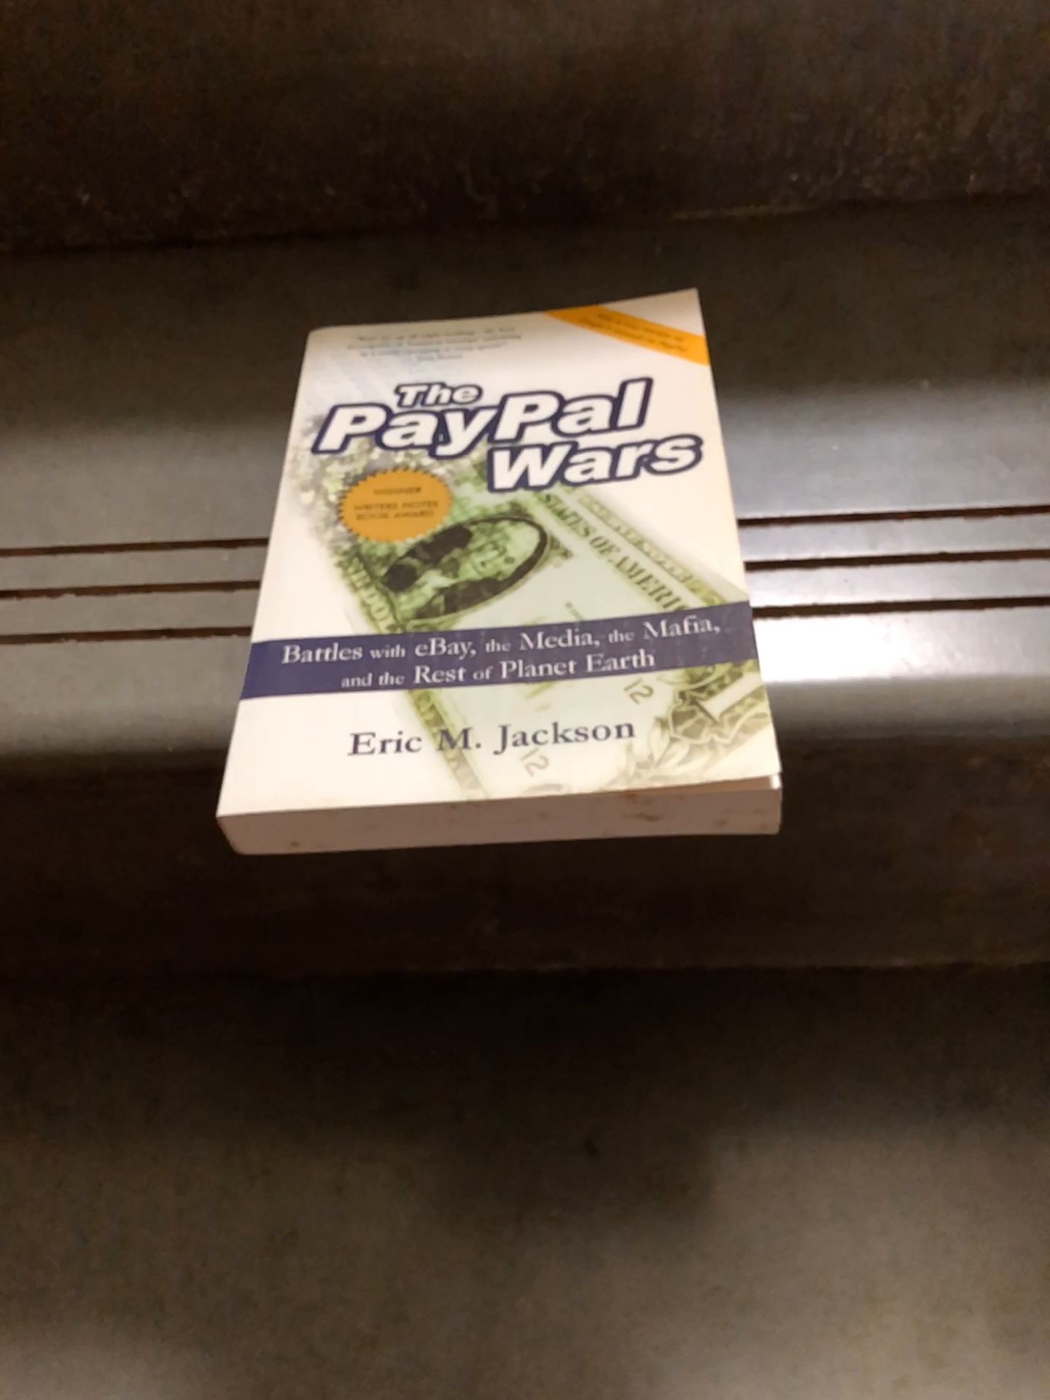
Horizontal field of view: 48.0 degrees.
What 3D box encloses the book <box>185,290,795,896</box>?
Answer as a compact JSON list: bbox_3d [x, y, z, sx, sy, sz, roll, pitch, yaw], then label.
[{"bbox_3d":[-0.010,-0.047,0.370,0.150,0.030,0.221,-3,51,3],"label":"book"}]
